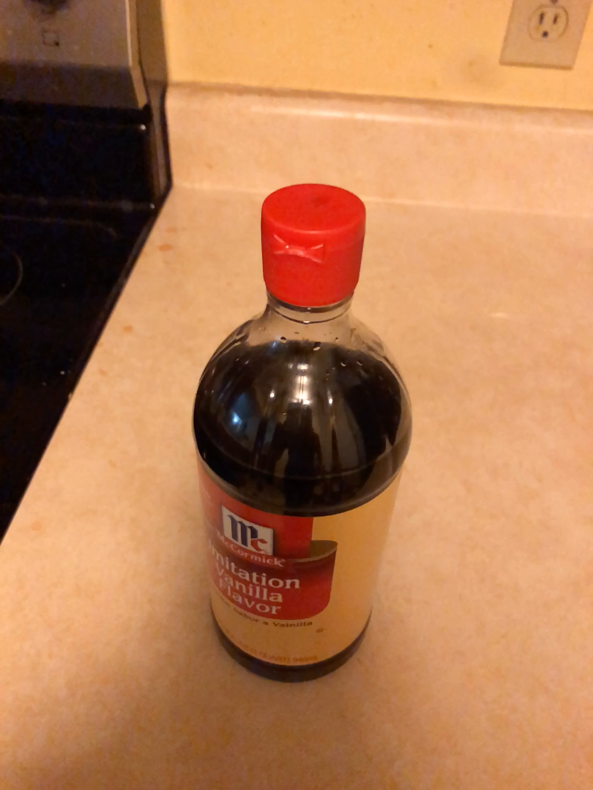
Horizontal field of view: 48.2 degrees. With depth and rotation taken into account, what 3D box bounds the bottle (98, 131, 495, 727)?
[{"bbox_3d":[-0.001,0.033,0.276,0.090,0.239,0.080,20,46,18],"label":"bottle"}]
